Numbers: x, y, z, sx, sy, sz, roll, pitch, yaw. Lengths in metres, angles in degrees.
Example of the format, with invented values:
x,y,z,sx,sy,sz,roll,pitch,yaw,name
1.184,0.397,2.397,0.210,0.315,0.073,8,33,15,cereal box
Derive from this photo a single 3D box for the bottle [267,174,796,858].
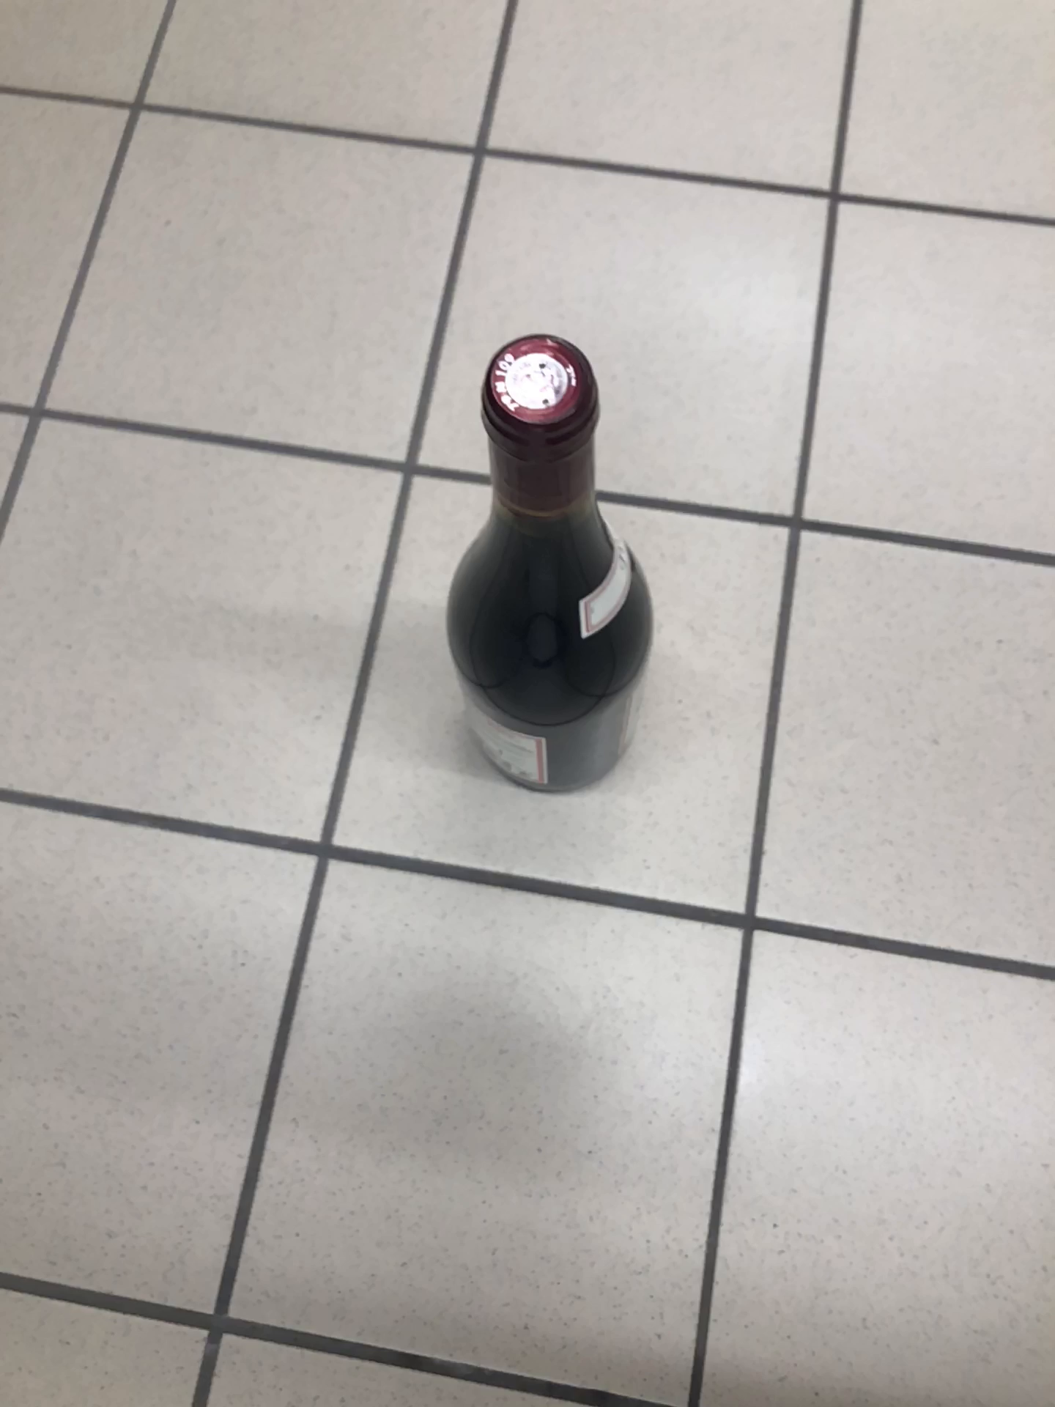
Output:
x,y,z,sx,sy,sz,roll,pitch,yaw,name
0.004,-0.032,0.420,0.090,0.289,0.090,0,73,1,bottle
